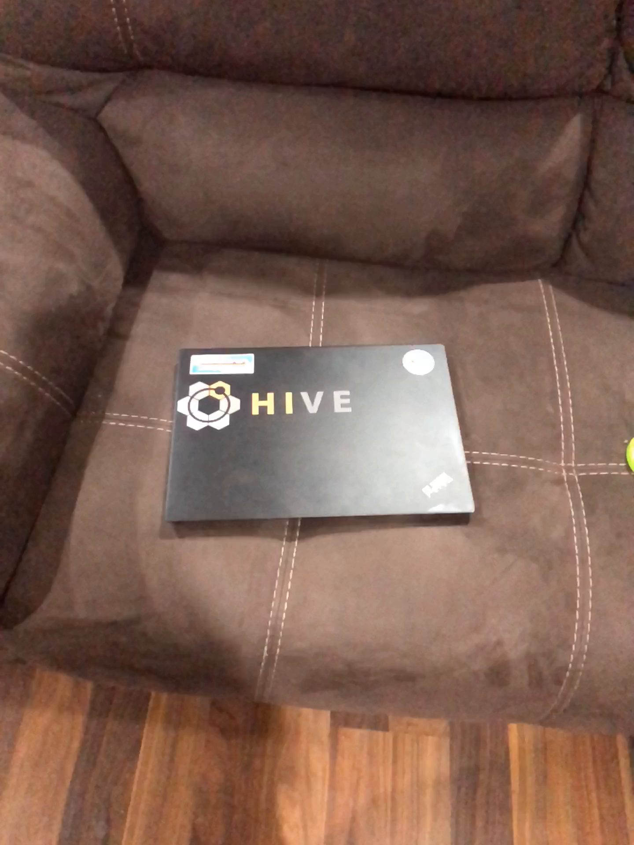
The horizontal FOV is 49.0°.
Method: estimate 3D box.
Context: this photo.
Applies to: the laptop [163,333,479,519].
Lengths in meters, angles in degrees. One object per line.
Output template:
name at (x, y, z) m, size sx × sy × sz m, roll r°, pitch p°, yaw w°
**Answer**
laptop at (0.000, -0.004, 0.797) m, size 0.328 × 0.019 × 0.236 m, roll -1°, pitch 56°, yaw -1°
